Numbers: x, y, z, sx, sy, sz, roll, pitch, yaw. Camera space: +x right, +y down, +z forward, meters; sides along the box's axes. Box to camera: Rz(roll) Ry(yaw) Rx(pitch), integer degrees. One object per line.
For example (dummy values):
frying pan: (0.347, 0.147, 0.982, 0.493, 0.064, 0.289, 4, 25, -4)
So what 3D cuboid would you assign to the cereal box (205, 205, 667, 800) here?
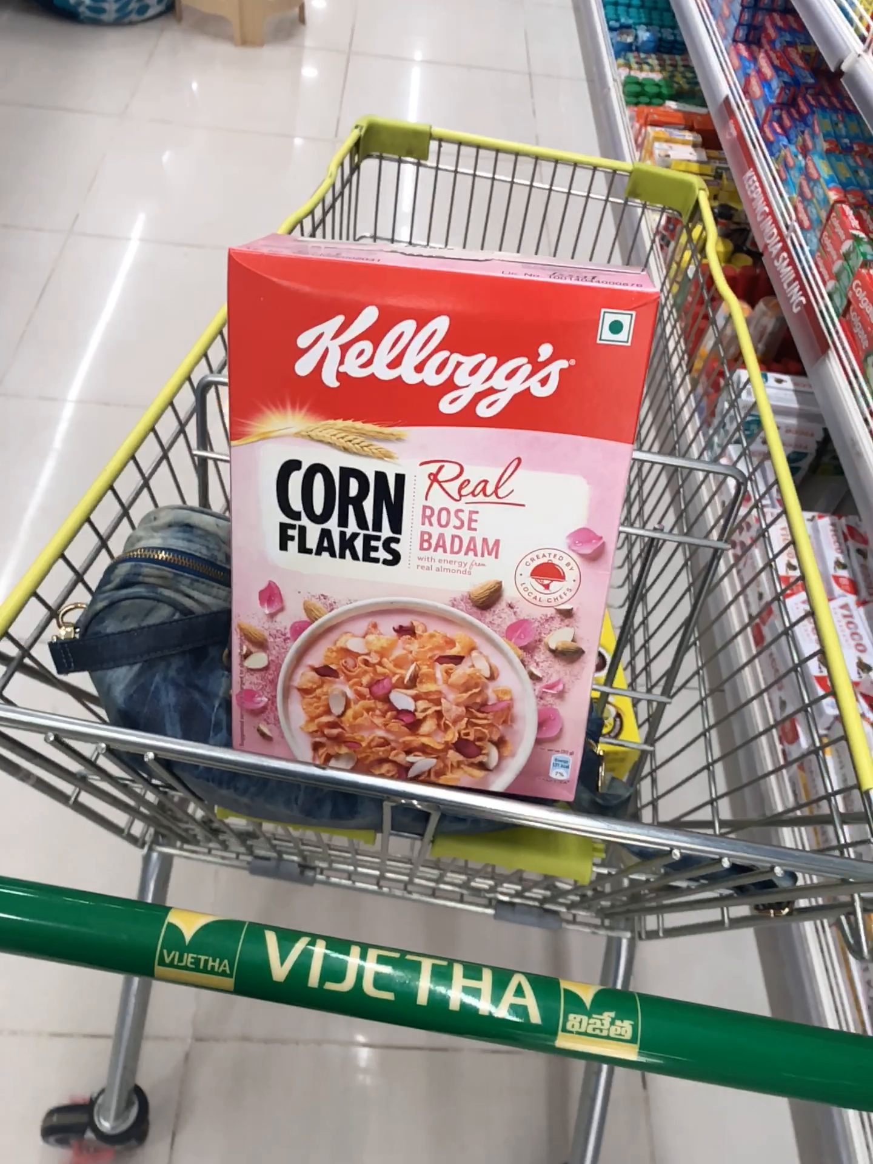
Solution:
cereal box: (-0.009, -0.030, 0.494, 0.190, 0.279, 0.070, 7, 30, 3)
